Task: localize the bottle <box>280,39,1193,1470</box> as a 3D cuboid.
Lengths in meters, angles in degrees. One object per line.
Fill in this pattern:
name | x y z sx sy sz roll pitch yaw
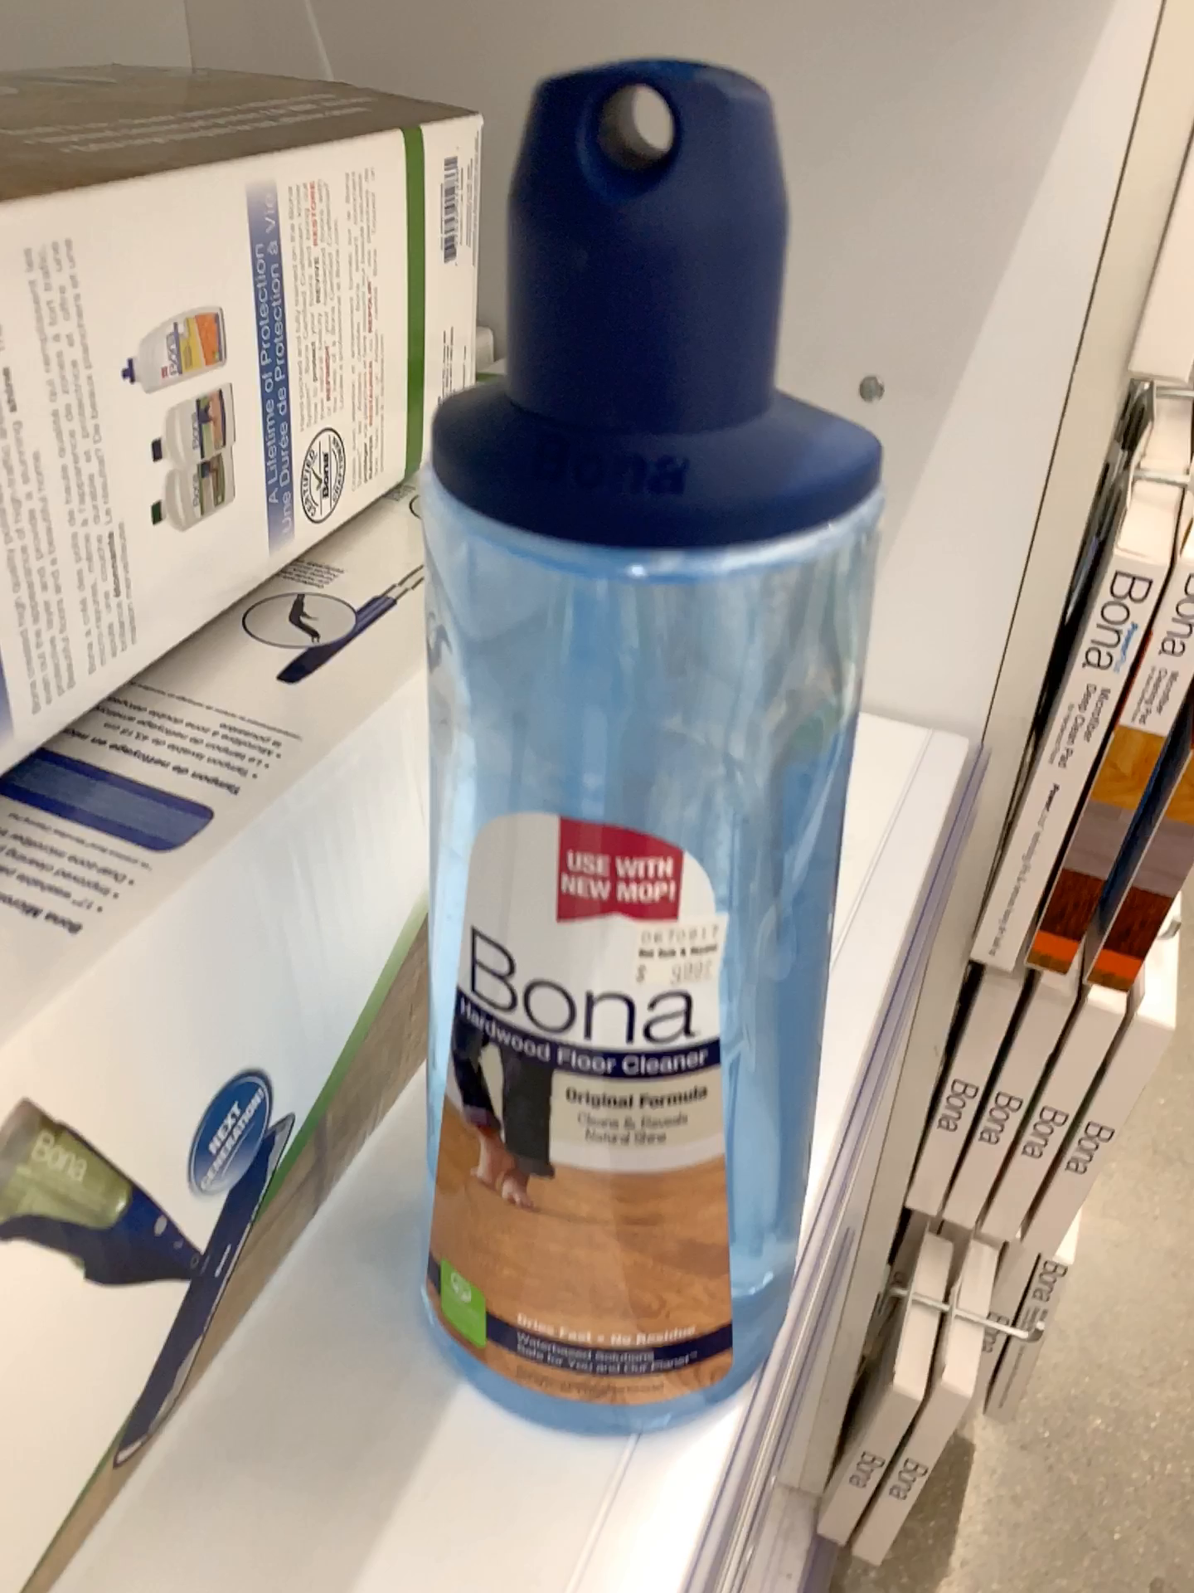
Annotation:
bottle | 0.015 0.017 0.247 0.100 0.279 0.080 7 36 6
